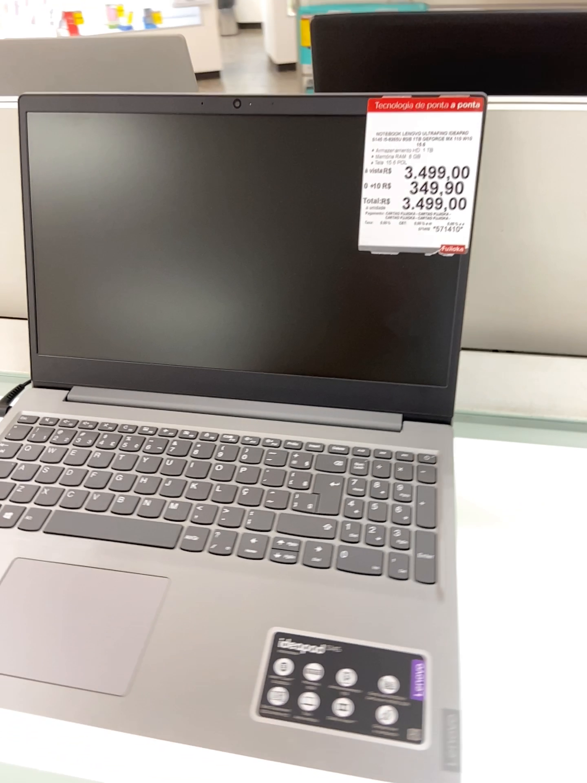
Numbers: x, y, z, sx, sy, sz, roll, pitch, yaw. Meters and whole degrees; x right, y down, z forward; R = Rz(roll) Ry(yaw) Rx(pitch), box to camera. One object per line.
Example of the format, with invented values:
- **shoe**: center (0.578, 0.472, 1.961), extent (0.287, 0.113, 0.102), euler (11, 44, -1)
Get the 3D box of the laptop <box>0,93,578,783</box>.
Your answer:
- **laptop**: center (-0.069, -0.025, 0.380), extent (0.359, 0.201, 0.368), euler (5, 42, 9)
